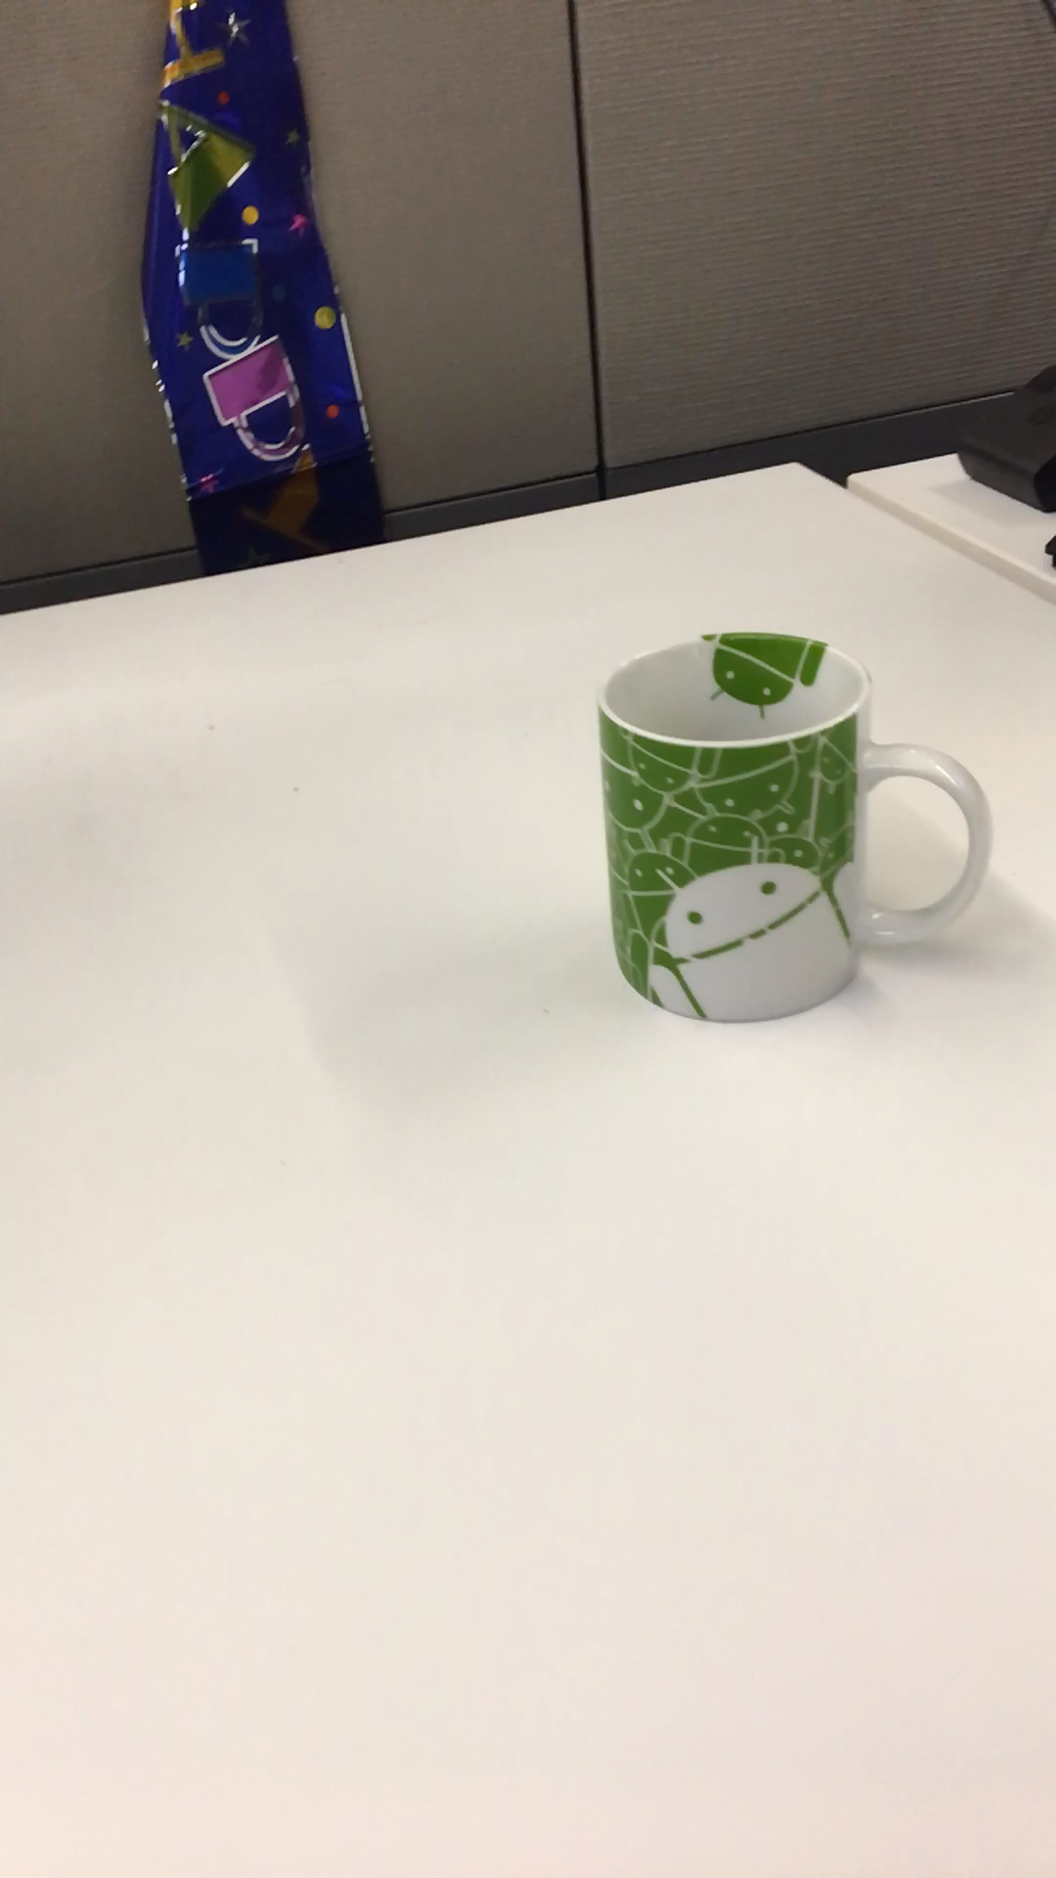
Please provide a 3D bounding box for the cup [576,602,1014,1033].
[{"bbox_3d":[0.074,-0.037,0.459,0.110,0.090,0.090,-2,33,6],"label":"cup"}]
